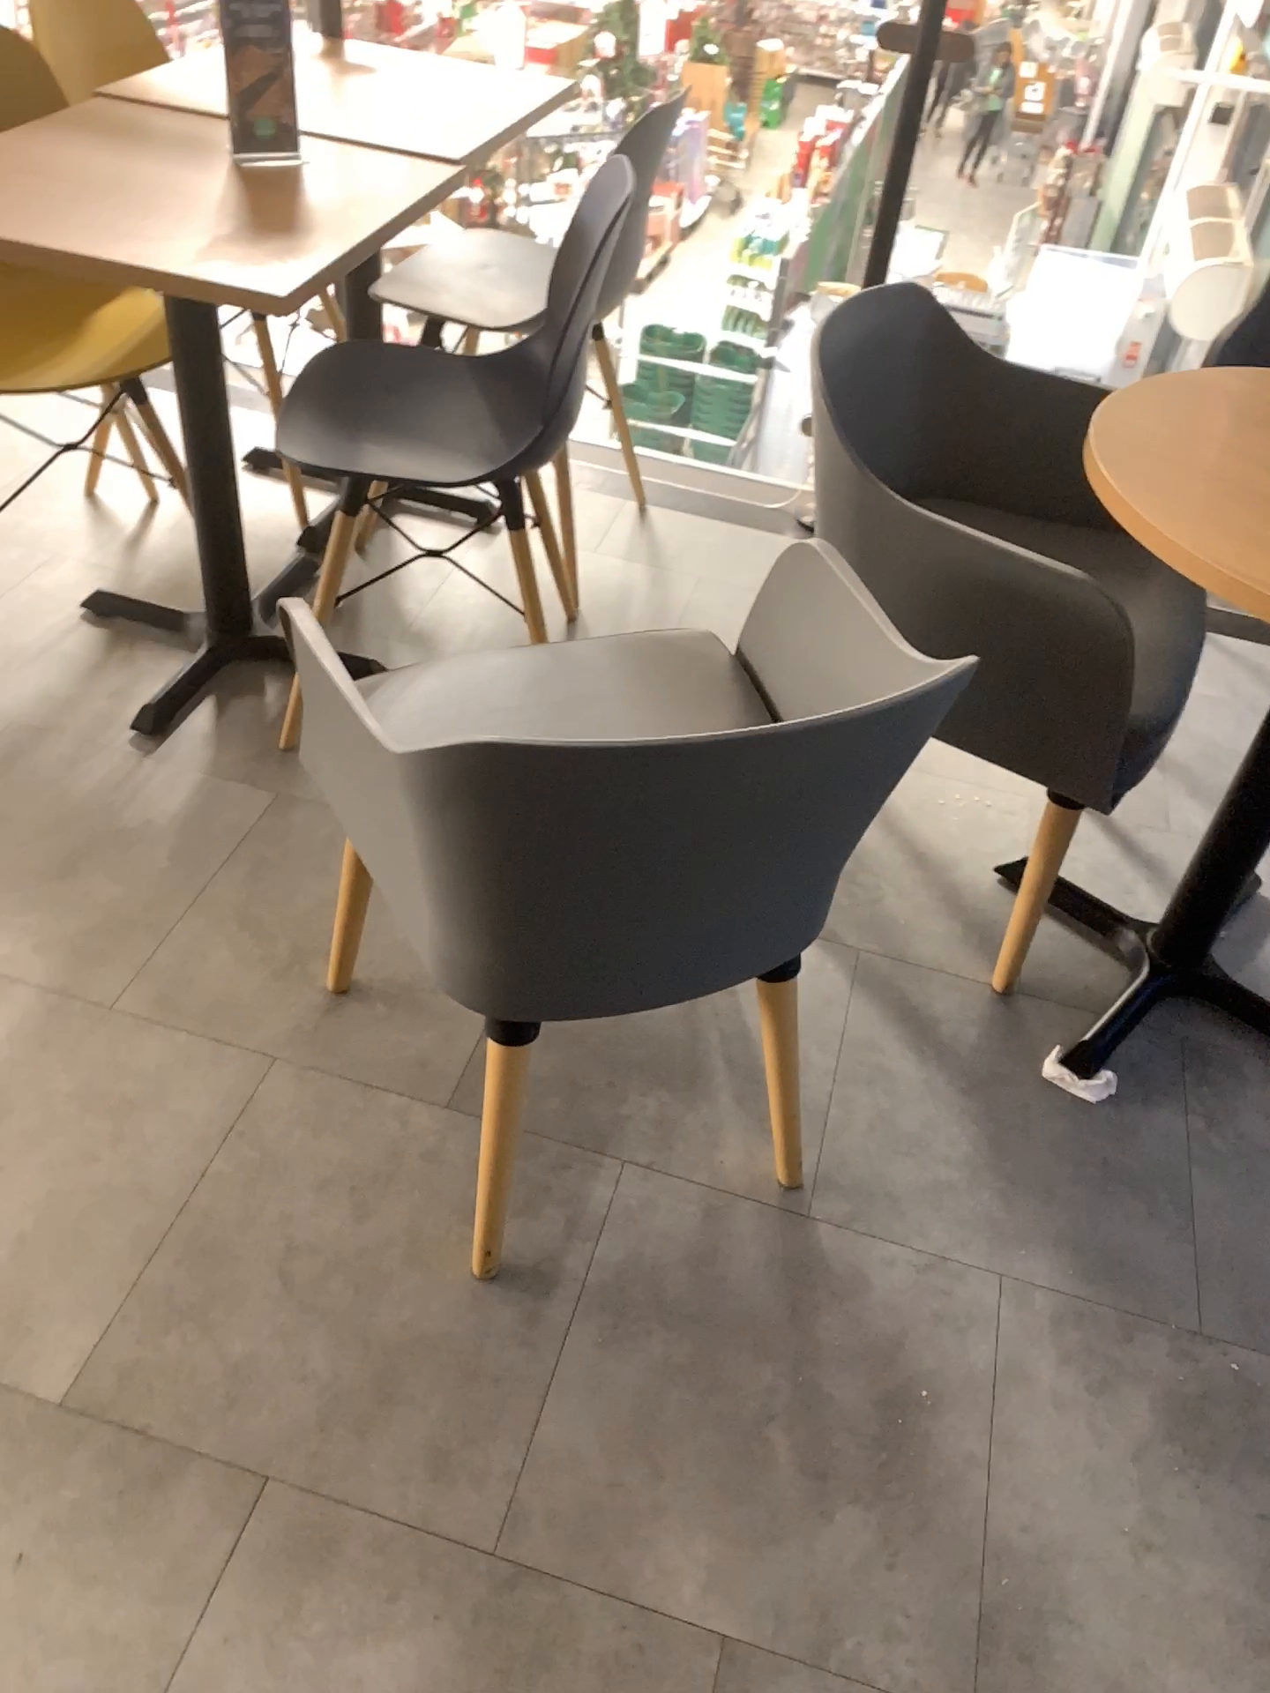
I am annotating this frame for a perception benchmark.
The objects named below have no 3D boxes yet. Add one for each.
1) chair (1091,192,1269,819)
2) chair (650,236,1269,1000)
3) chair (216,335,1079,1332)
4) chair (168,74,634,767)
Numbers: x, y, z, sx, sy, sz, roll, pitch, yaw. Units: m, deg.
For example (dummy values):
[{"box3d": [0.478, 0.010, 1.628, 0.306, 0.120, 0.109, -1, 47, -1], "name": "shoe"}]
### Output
[{"box3d": [1.136, -0.563, 2.111, 0.484, 0.725, 0.585, 18, 42, 12], "name": "chair"}, {"box3d": [0.410, -0.310, 1.728, 0.540, 0.725, 0.518, 22, 43, 16], "name": "chair"}, {"box3d": [-0.060, -0.030, 1.332, 0.544, 0.735, 0.584, -12, 46, -21], "name": "chair"}, {"box3d": [-0.307, -0.586, 1.868, 0.510, 0.784, 0.478, 3, 42, -6], "name": "chair"}]
